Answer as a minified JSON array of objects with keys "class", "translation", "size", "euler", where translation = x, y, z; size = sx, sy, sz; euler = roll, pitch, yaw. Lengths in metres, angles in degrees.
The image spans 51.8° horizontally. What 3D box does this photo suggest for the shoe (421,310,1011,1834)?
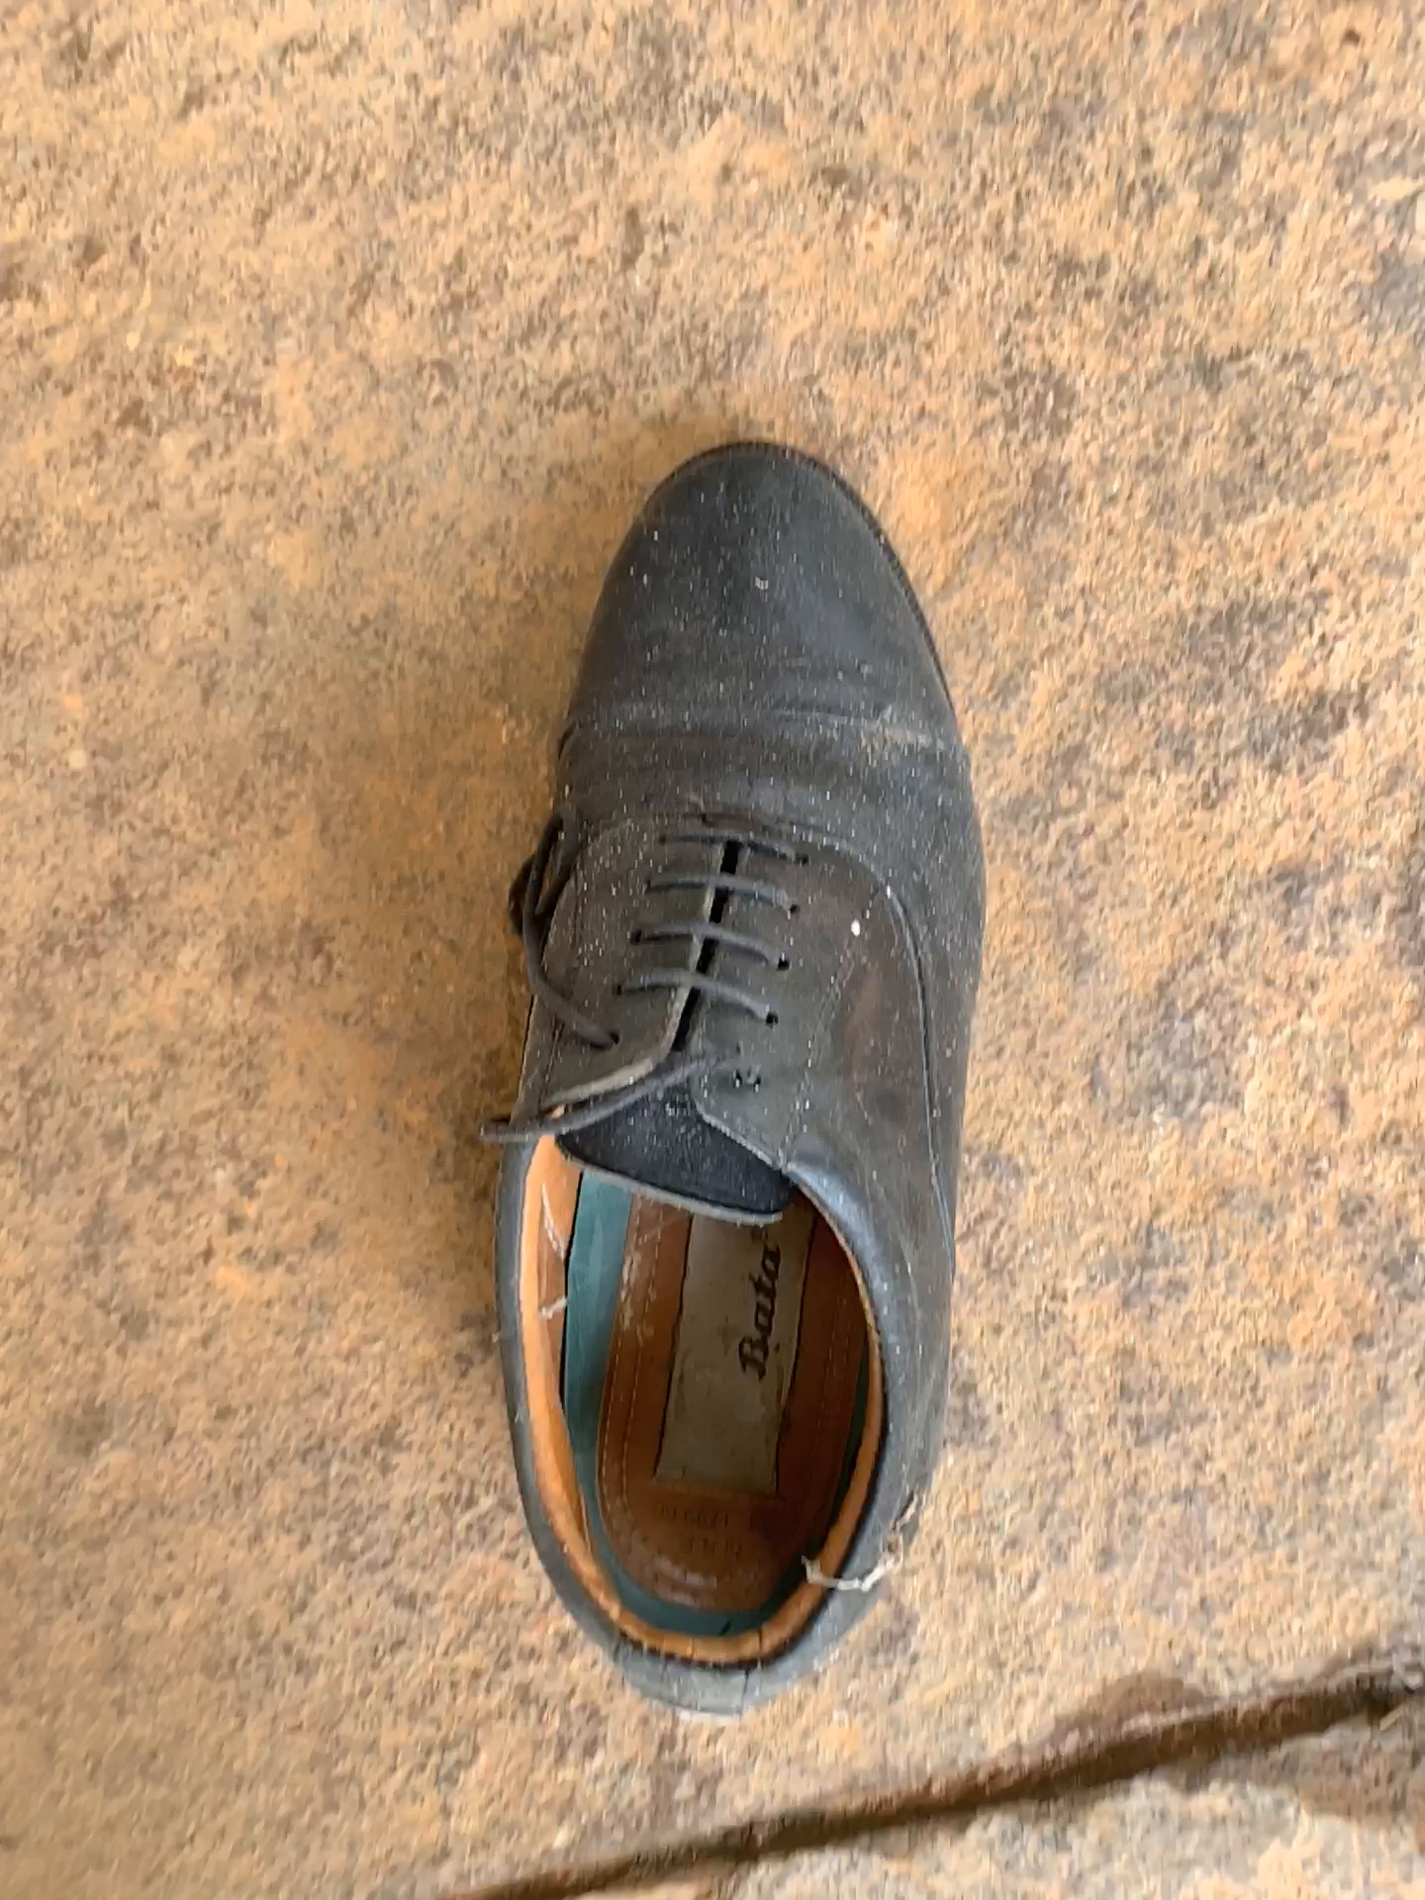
[{"class":"shoe","translation":[0.010,0.017,0.312],"size":[0.100,0.090,0.270],"euler":[0,81,9]}]
